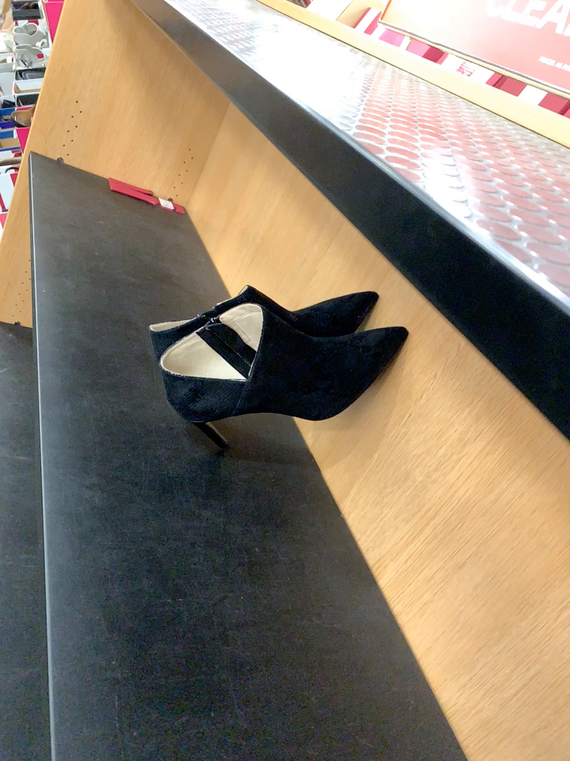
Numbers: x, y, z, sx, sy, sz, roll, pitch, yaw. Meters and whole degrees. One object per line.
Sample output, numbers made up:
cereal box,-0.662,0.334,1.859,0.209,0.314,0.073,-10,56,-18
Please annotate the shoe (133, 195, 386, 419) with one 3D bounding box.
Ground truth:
shoe,-0.030,-0.091,0.737,0.140,0.270,0.102,62,-1,-44

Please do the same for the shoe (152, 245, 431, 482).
shoe,0.003,-0.022,0.674,0.120,0.280,0.112,61,1,-33
